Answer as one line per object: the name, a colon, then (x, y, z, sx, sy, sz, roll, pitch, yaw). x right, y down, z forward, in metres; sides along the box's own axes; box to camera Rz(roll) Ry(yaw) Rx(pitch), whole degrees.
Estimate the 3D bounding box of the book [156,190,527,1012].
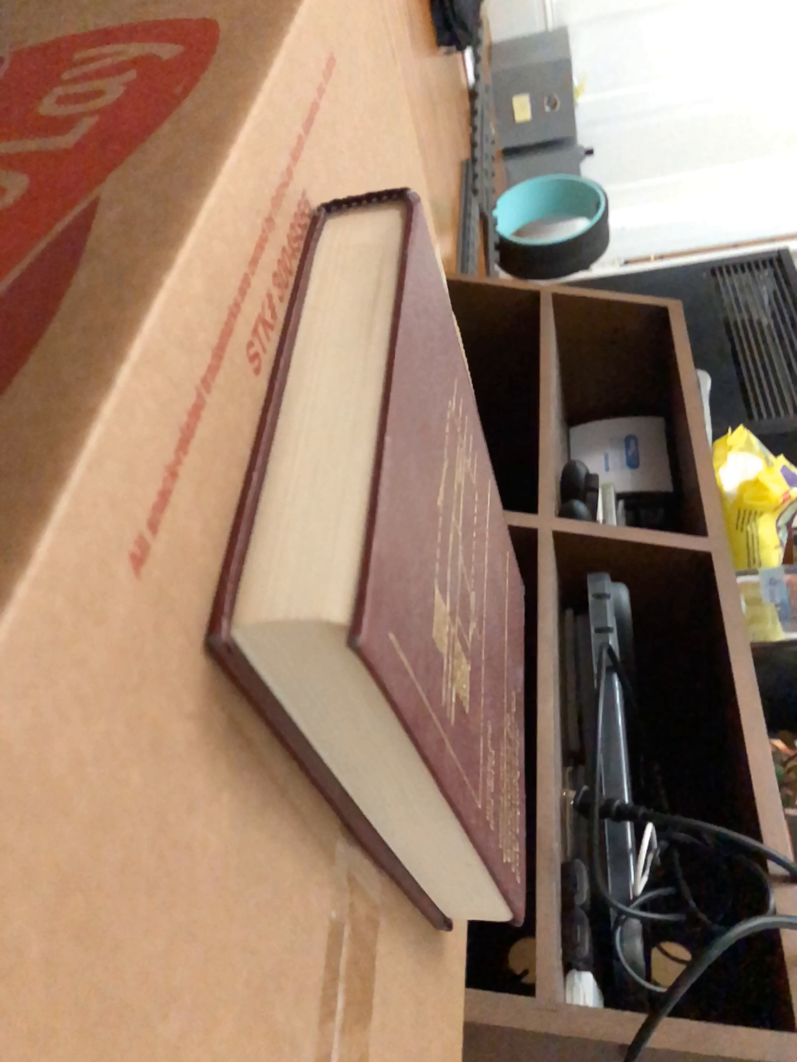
book: (0.009, 0.042, 0.316, 0.240, 0.040, 0.190, 68, 22, -49)
